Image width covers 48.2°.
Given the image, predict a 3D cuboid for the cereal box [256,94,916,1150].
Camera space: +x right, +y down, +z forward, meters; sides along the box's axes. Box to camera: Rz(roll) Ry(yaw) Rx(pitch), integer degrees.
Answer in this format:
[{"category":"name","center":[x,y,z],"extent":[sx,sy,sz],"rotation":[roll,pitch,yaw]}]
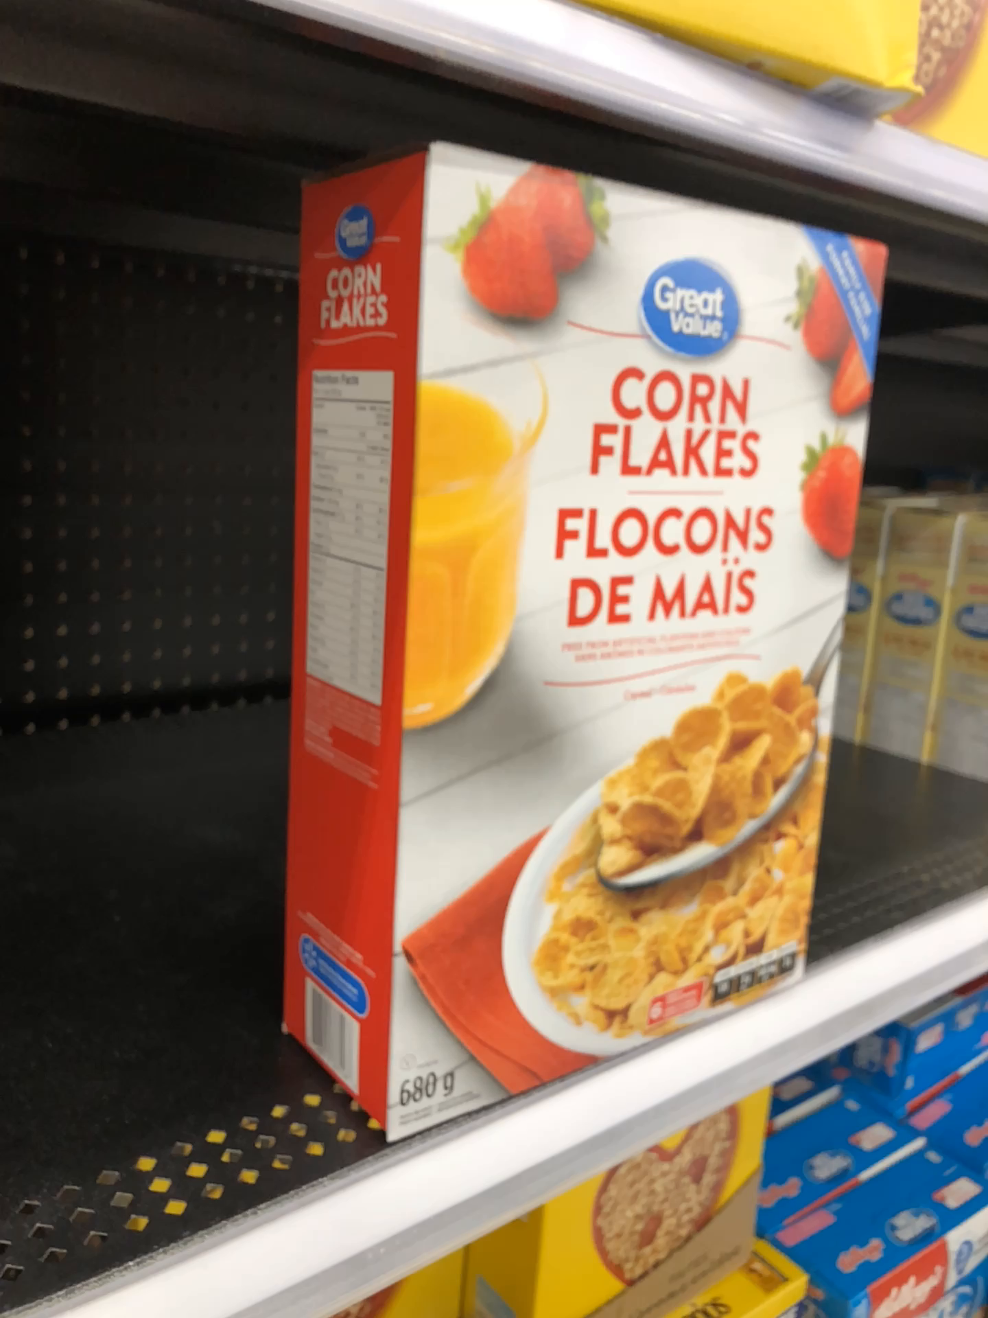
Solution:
[{"category":"cereal box","center":[0.038,-0.015,0.445],"extent":[0.240,0.329,0.090],"rotation":[-6,15,-37]}]
